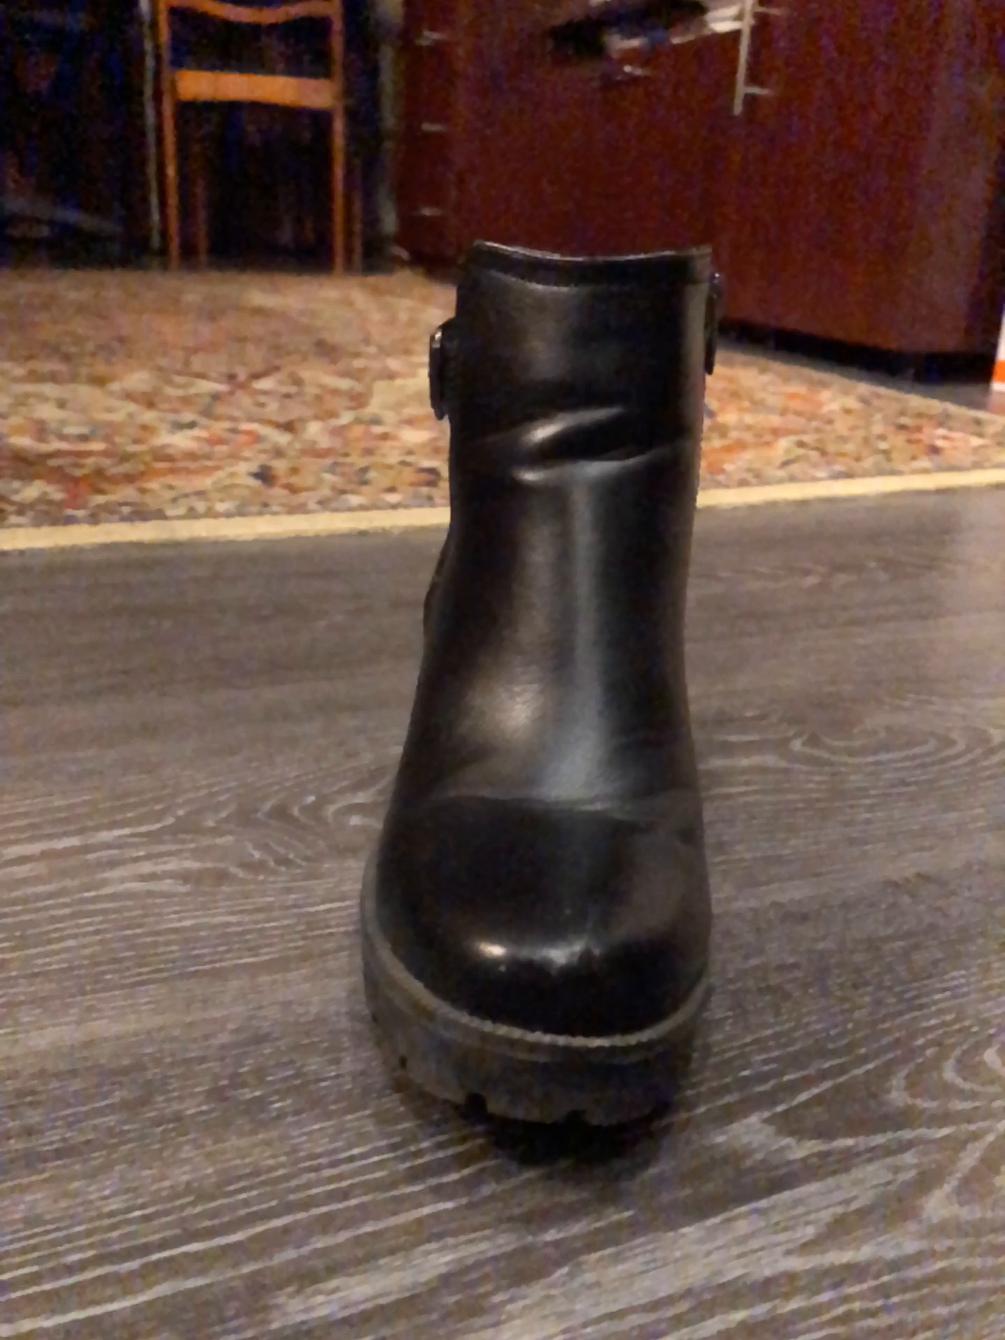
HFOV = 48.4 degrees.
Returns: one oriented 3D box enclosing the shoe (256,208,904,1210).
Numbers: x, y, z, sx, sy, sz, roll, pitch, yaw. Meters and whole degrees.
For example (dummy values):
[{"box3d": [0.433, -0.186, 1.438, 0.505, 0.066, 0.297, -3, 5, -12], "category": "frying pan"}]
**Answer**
[{"box3d": [0.012, -0.025, 0.300, 0.090, 0.179, 0.241, 3, 22, 1], "category": "shoe"}]
